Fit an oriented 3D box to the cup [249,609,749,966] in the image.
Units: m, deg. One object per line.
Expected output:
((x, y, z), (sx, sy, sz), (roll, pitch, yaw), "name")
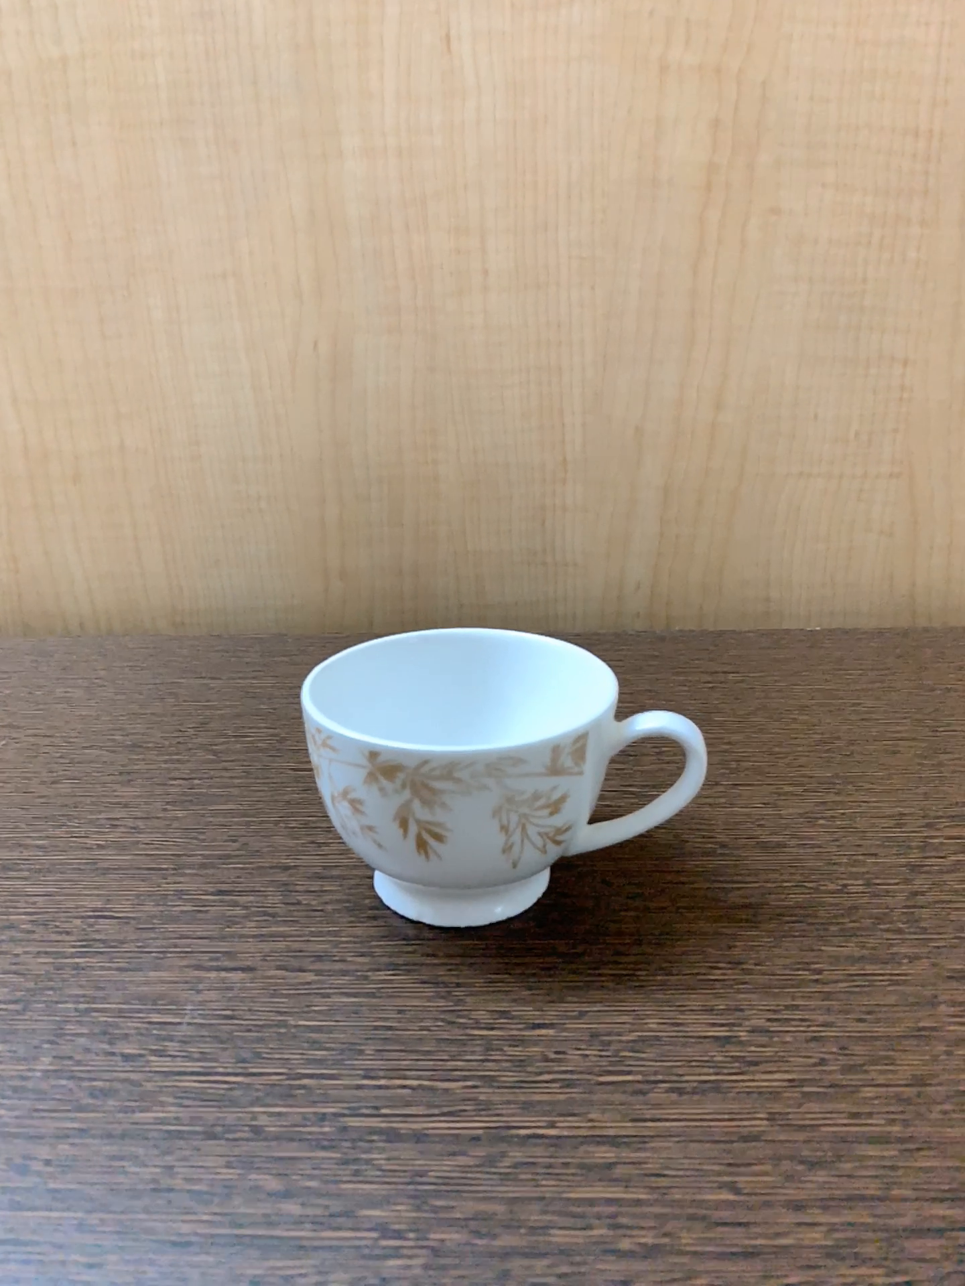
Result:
((0.007, 0.029, 0.244), (0.100, 0.050, 0.081), (2, 20, 7), "cup")
